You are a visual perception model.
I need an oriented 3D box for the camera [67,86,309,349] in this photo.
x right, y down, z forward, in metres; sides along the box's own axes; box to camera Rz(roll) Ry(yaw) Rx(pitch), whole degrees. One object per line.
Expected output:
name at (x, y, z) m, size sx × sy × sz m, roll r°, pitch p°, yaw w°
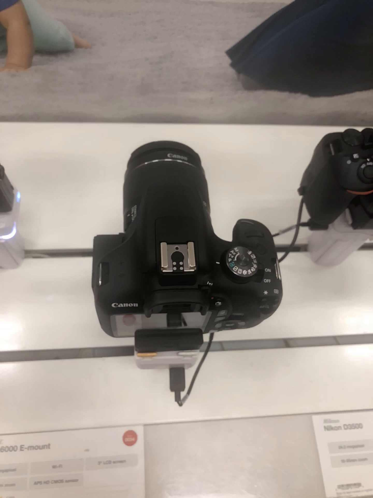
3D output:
camera at (-0.007, -0.023, 0.314) m, size 0.140 × 0.090 × 0.170 m, roll -2°, pitch 67°, yaw -7°
